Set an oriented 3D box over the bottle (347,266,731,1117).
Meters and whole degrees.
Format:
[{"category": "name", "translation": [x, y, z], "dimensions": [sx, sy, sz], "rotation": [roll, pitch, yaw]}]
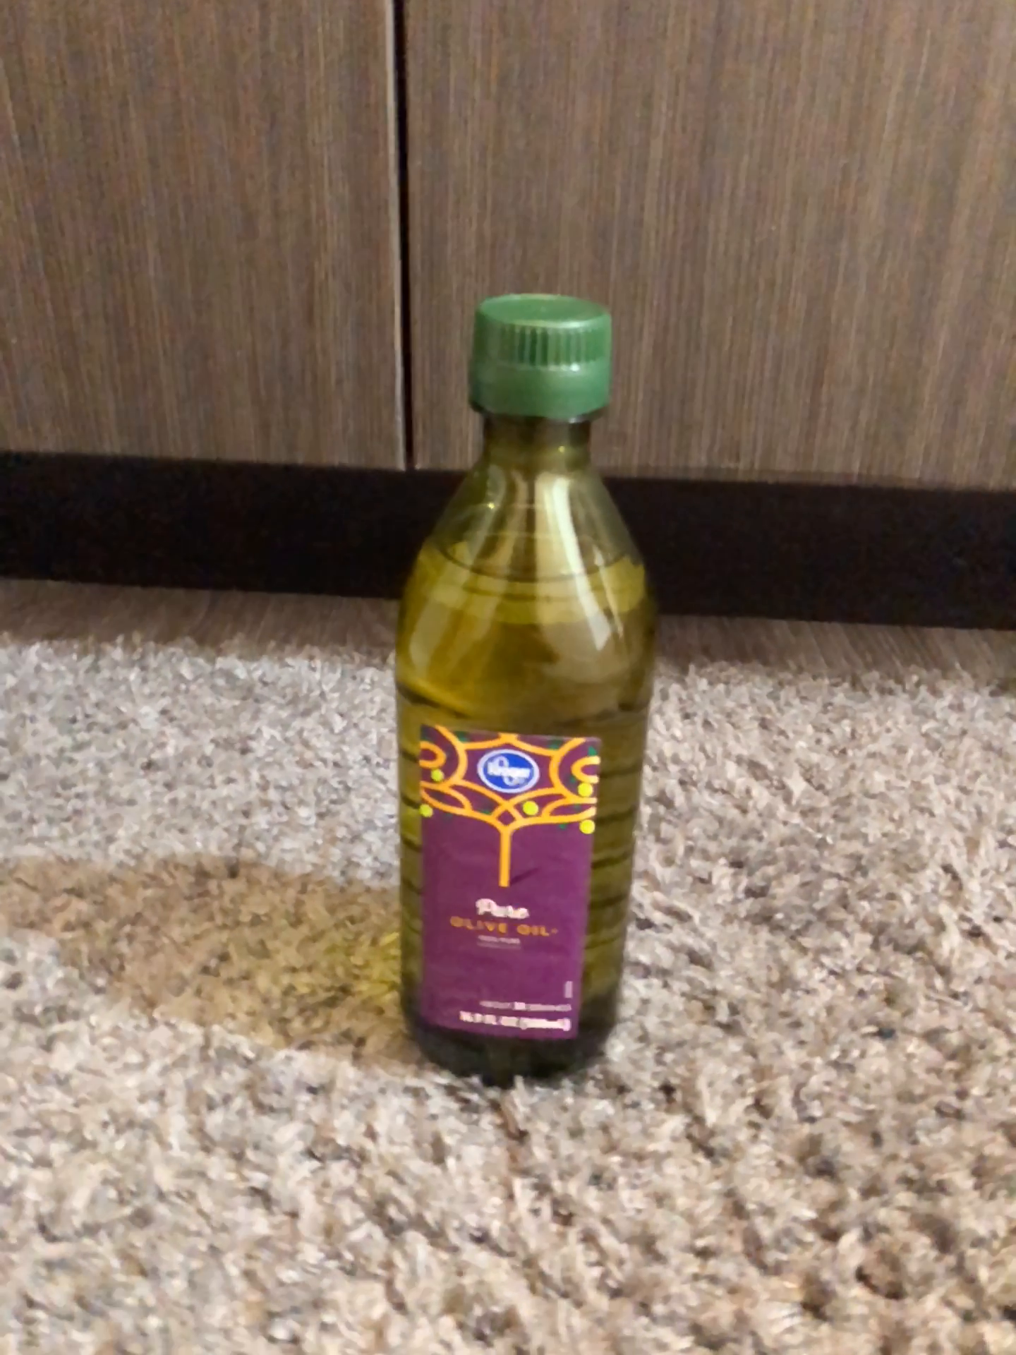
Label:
[{"category": "bottle", "translation": [0.007, 0.012, 0.288], "dimensions": [0.070, 0.209, 0.060], "rotation": [7, 32, 9]}]
